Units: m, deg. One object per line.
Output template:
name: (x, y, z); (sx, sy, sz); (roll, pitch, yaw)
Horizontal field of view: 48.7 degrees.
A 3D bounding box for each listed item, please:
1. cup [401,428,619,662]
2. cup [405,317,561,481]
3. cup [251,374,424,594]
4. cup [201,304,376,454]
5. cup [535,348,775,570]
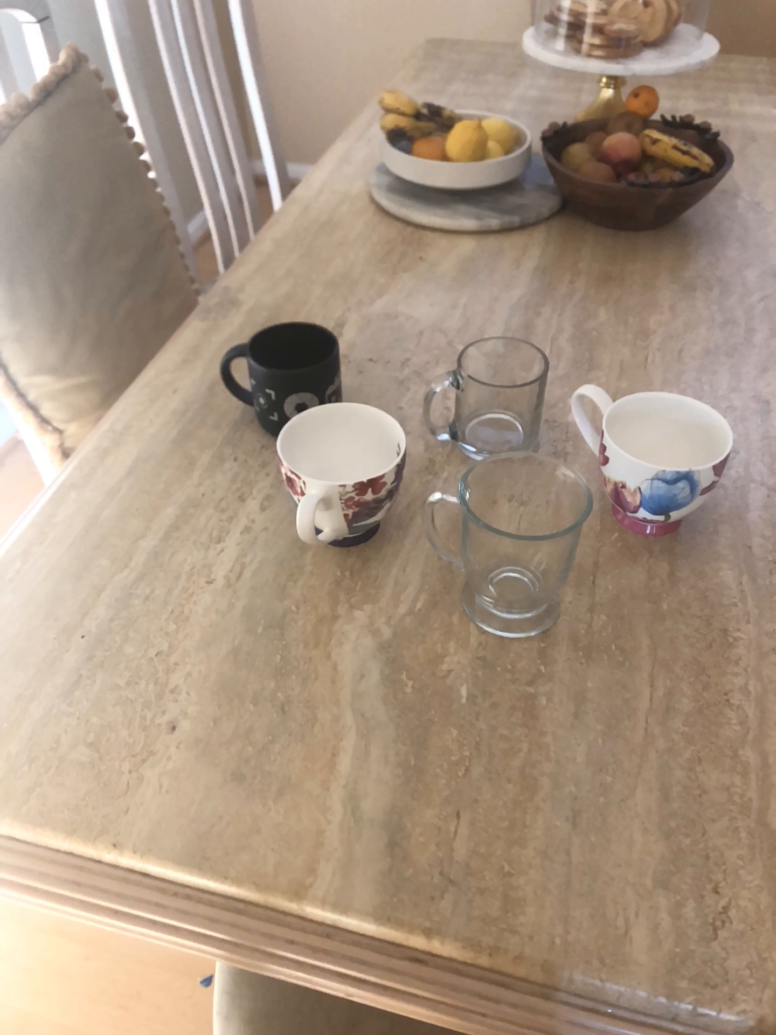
cup: (0.092, 0.020, 0.663); (0.140, 0.119, 0.101); (12, 44, 13)
cup: (0.085, -0.113, 0.825); (0.130, 0.119, 0.091); (-3, 43, -2)
cup: (-0.034, -0.032, 0.709); (0.110, 0.099, 0.151); (5, 43, 6)
cup: (-0.096, -0.142, 0.867); (0.140, 0.089, 0.101); (12, 45, 13)
cup: (0.228, -0.056, 0.750); (0.111, 0.099, 0.150); (-35, 52, -31)
